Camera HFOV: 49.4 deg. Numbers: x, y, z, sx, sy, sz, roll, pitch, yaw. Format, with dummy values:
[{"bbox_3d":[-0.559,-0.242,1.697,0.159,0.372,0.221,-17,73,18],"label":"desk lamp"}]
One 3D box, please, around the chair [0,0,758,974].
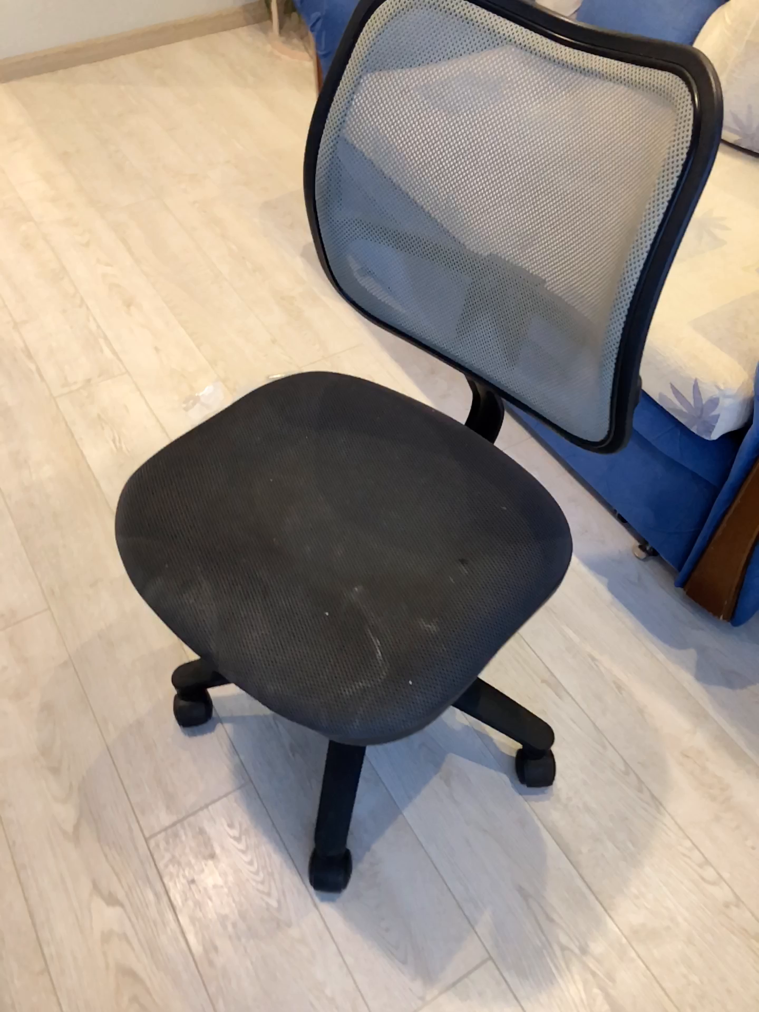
[{"bbox_3d":[-0.052,-0.068,0.853,0.512,0.735,0.662,-36,58,-27],"label":"chair"}]
